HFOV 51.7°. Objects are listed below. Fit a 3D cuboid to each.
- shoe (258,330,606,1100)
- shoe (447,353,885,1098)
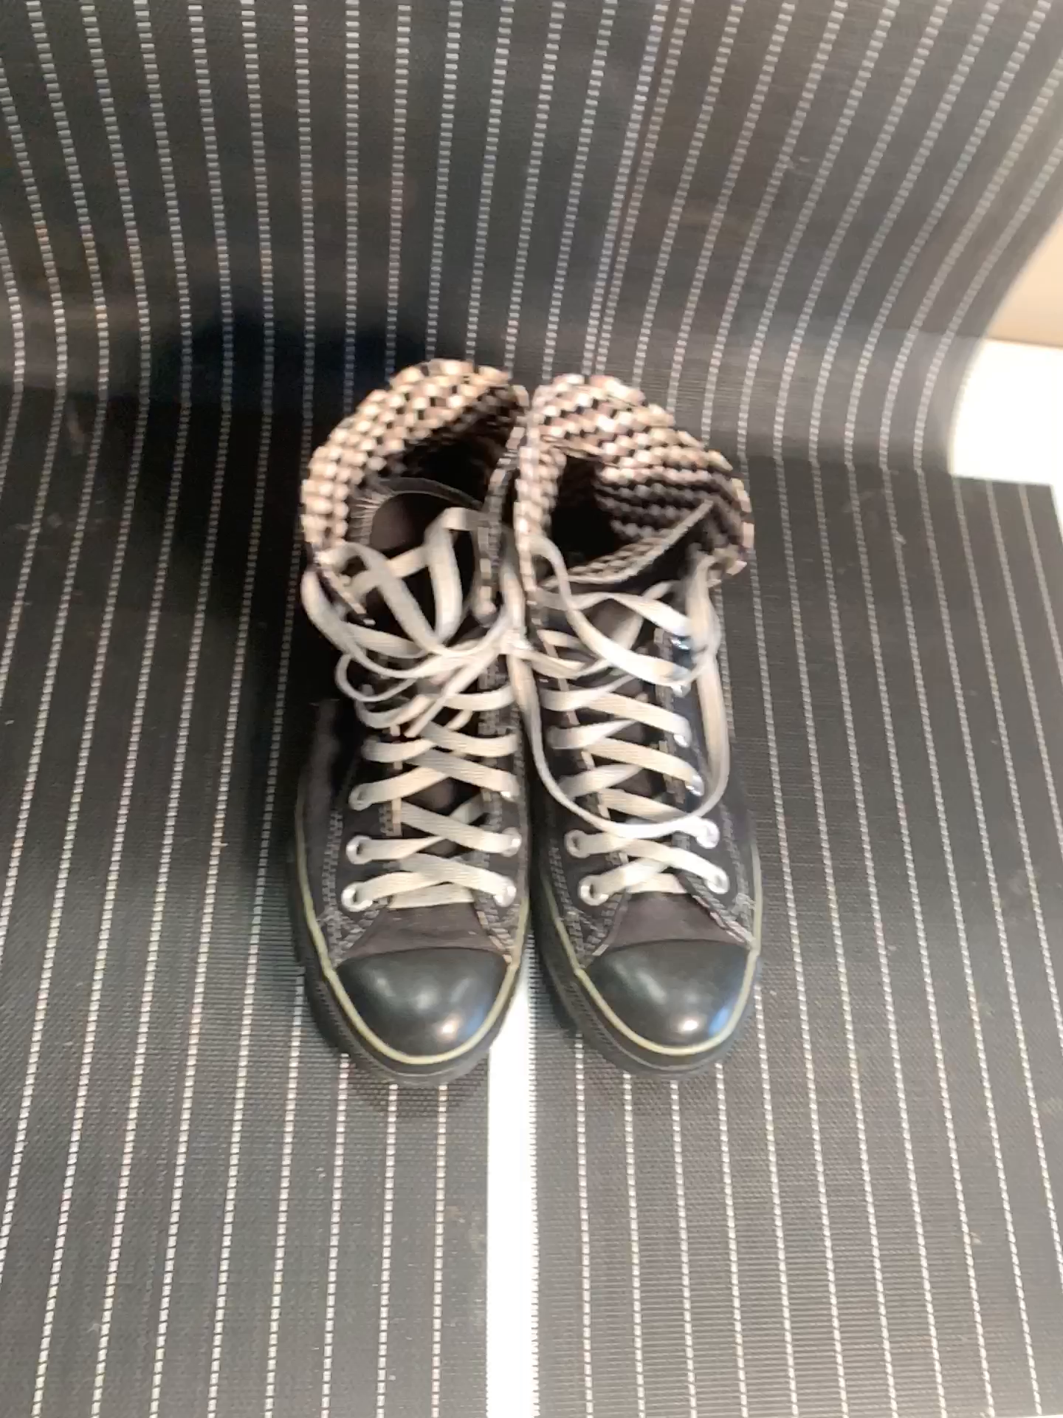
[{"bbox_3d":[-0.046,0.005,0.461,0.110,0.130,0.290,1,67,-9],"label":"shoe"},{"bbox_3d":[0.038,0.006,0.478,0.110,0.130,0.290,-4,68,-11],"label":"shoe"}]
